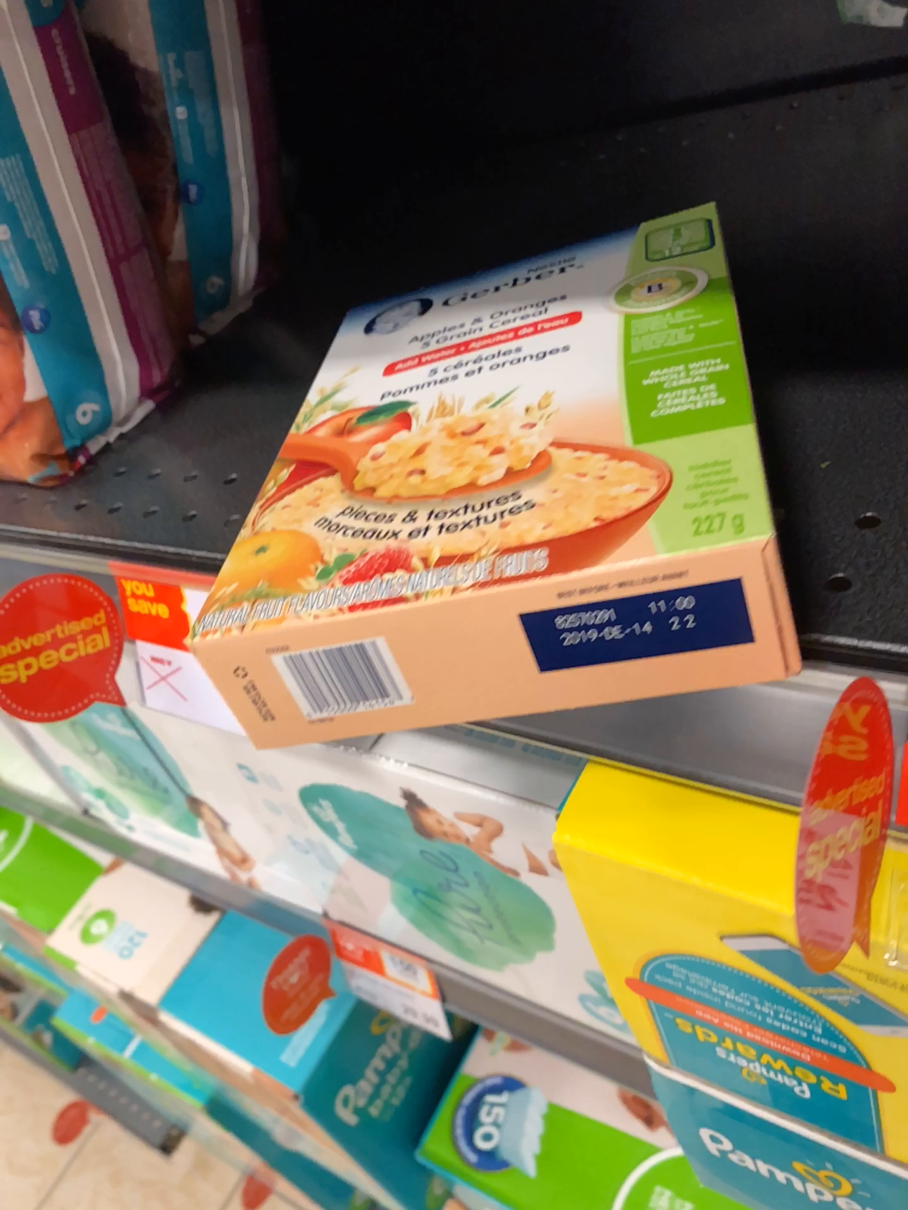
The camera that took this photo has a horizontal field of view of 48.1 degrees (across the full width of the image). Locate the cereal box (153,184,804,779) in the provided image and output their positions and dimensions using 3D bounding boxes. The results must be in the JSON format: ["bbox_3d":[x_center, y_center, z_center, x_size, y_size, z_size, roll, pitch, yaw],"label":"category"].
[{"bbox_3d":[0.017,-0.051,0.323,0.150,0.050,0.210,-10,39,18],"label":"cereal box"}]
